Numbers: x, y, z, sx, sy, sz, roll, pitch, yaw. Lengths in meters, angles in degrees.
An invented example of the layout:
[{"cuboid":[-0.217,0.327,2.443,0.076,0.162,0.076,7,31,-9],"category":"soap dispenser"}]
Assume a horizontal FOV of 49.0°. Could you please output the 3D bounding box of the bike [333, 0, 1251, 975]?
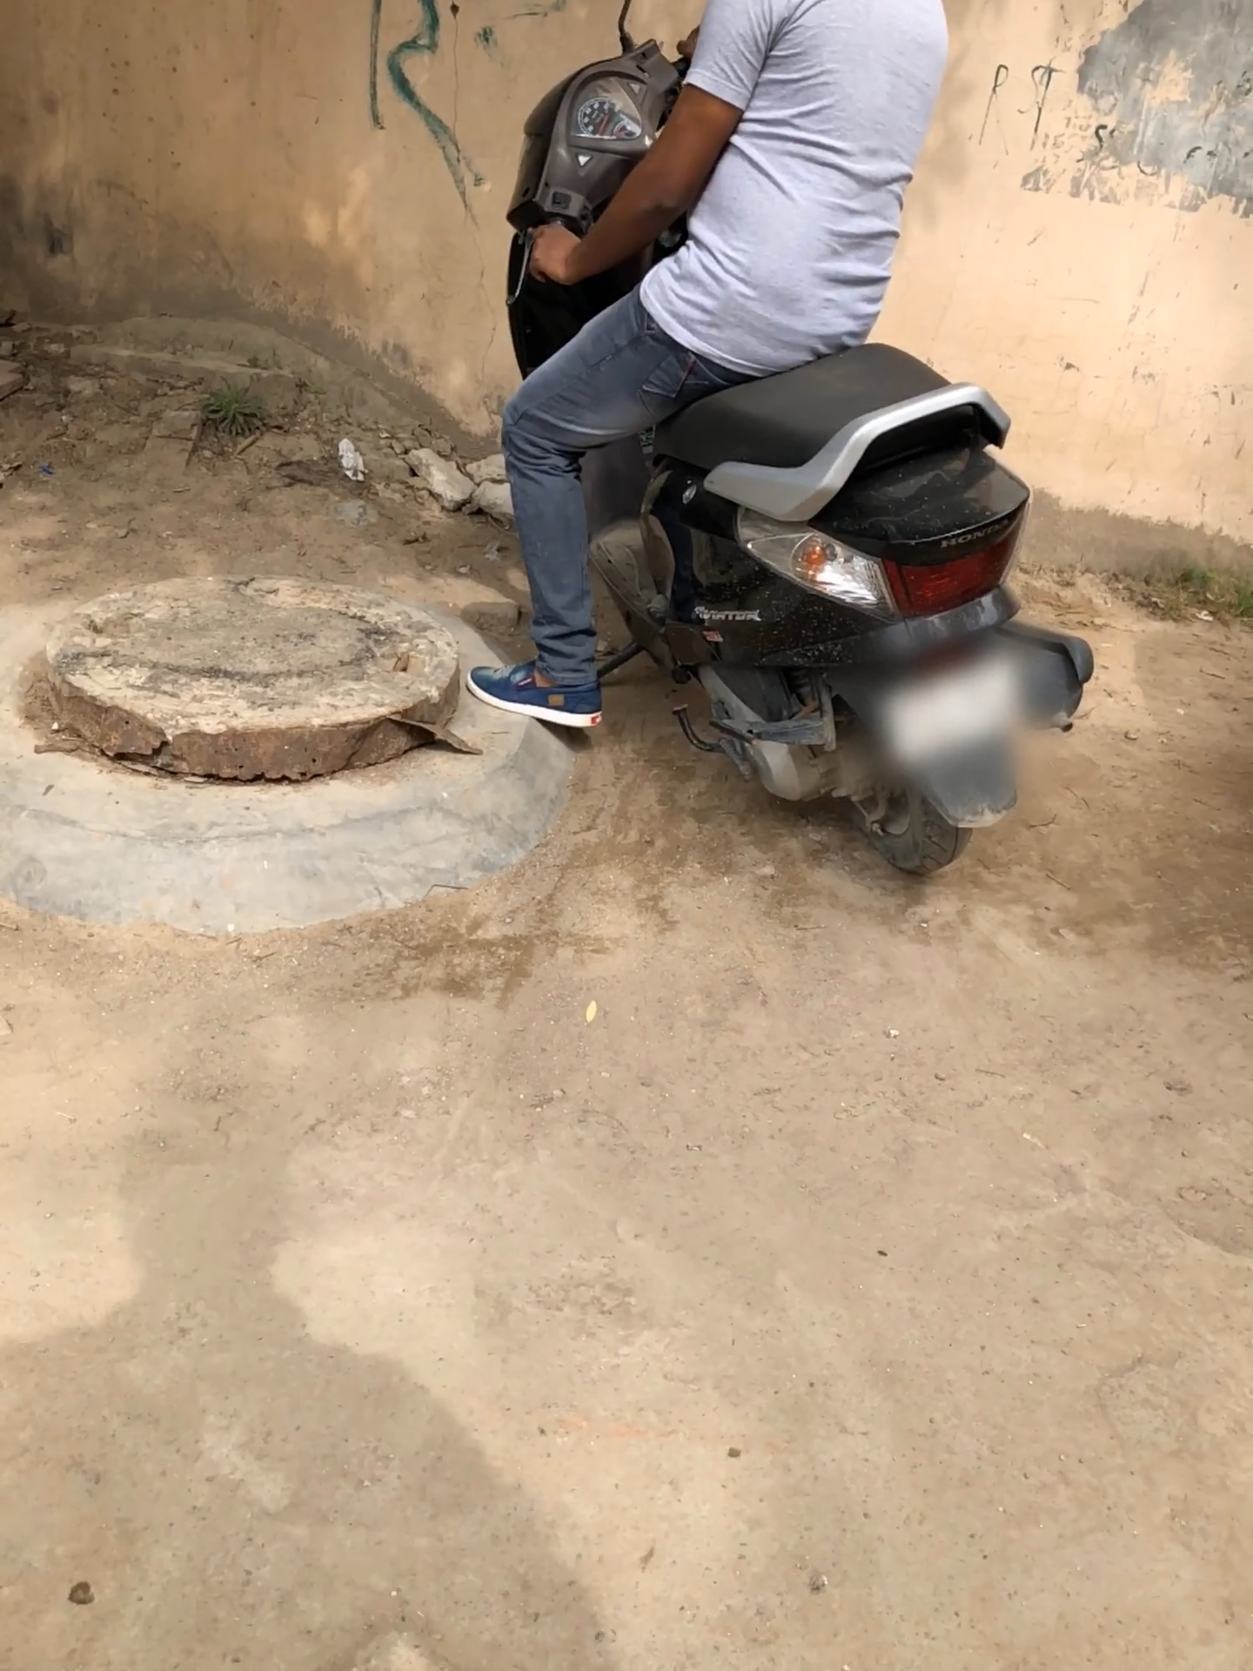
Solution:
[{"cuboid":[0.056,-0.801,2.502,0.654,1.228,1.656,-8,34,-28],"category":"bike"}]
